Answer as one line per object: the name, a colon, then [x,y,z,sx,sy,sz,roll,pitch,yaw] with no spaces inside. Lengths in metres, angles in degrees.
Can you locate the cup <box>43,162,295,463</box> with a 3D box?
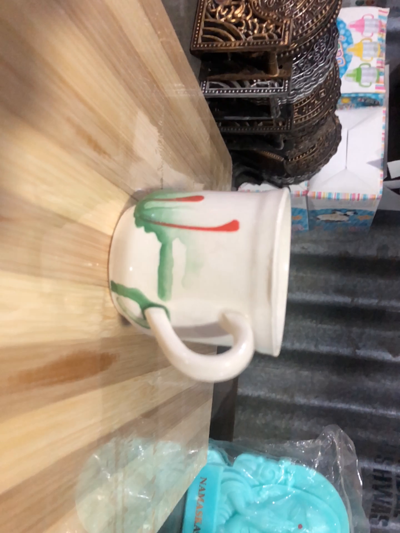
cup: [0.000,0.016,0.188,0.080,0.070,0.090,82,18,-45]
